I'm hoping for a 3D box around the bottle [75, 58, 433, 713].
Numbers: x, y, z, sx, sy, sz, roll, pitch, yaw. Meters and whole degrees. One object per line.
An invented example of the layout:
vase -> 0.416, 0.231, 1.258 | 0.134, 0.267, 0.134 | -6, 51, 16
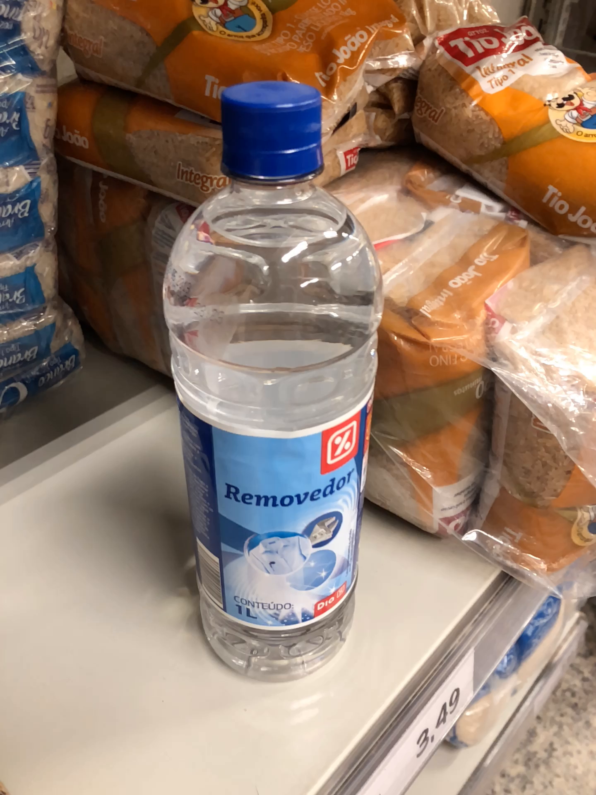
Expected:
bottle -> -0.009, 0.016, 0.273 | 0.080, 0.258, 0.091 | 10, 40, 10
